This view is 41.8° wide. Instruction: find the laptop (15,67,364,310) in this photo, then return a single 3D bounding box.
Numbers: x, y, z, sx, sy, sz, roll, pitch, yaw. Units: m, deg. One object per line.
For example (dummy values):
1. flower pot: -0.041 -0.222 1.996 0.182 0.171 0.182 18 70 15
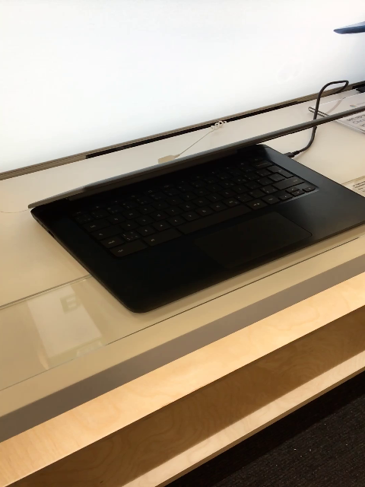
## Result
1. laptop: 0.039 -0.082 0.546 0.338 0.121 0.205 -23 49 -24
